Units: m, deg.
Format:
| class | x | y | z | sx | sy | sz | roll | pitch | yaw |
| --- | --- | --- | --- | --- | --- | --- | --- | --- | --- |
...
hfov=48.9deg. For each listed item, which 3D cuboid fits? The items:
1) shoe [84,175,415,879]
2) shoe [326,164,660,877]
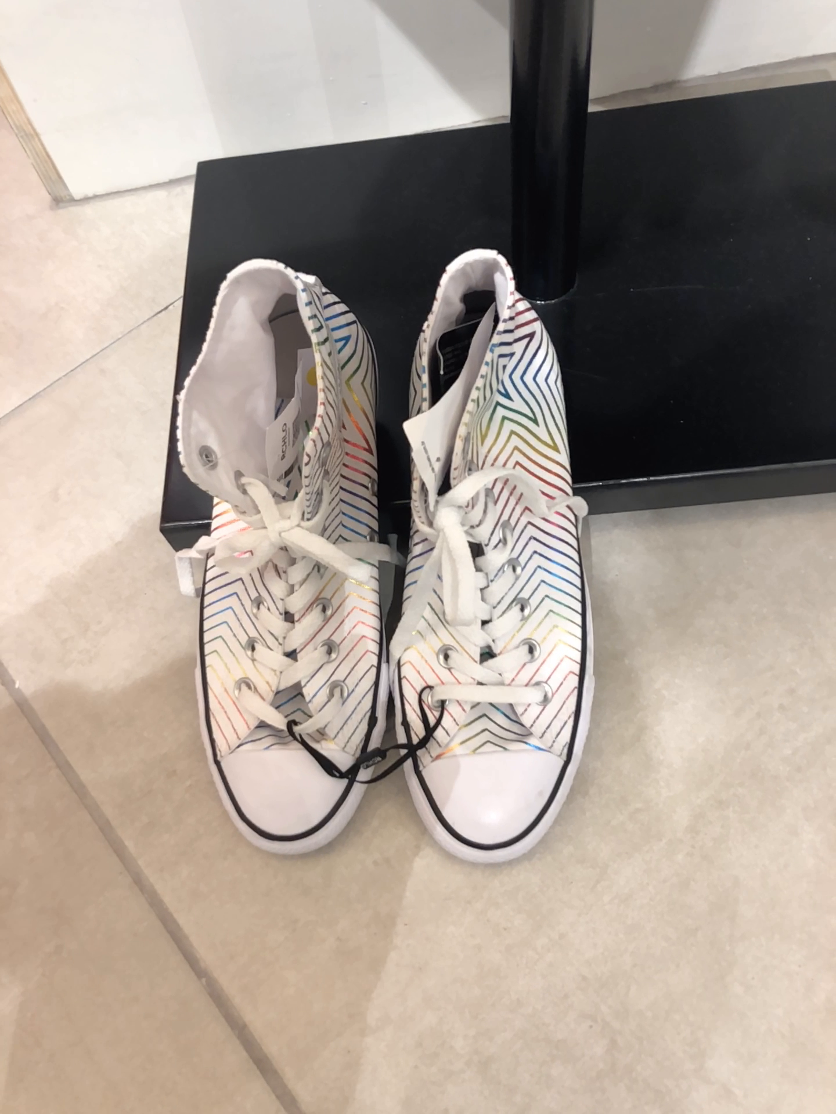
| class | x | y | z | sx | sy | sz | roll | pitch | yaw |
| --- | --- | --- | --- | --- | --- | --- | --- | --- | --- |
| shoe | -0.072 | -0.010 | 0.460 | 0.120 | 0.140 | 0.300 | -2 | 80 | 5 |
| shoe | 0.031 | -0.010 | 0.441 | 0.120 | 0.140 | 0.301 | -2 | 73 | 5 |
